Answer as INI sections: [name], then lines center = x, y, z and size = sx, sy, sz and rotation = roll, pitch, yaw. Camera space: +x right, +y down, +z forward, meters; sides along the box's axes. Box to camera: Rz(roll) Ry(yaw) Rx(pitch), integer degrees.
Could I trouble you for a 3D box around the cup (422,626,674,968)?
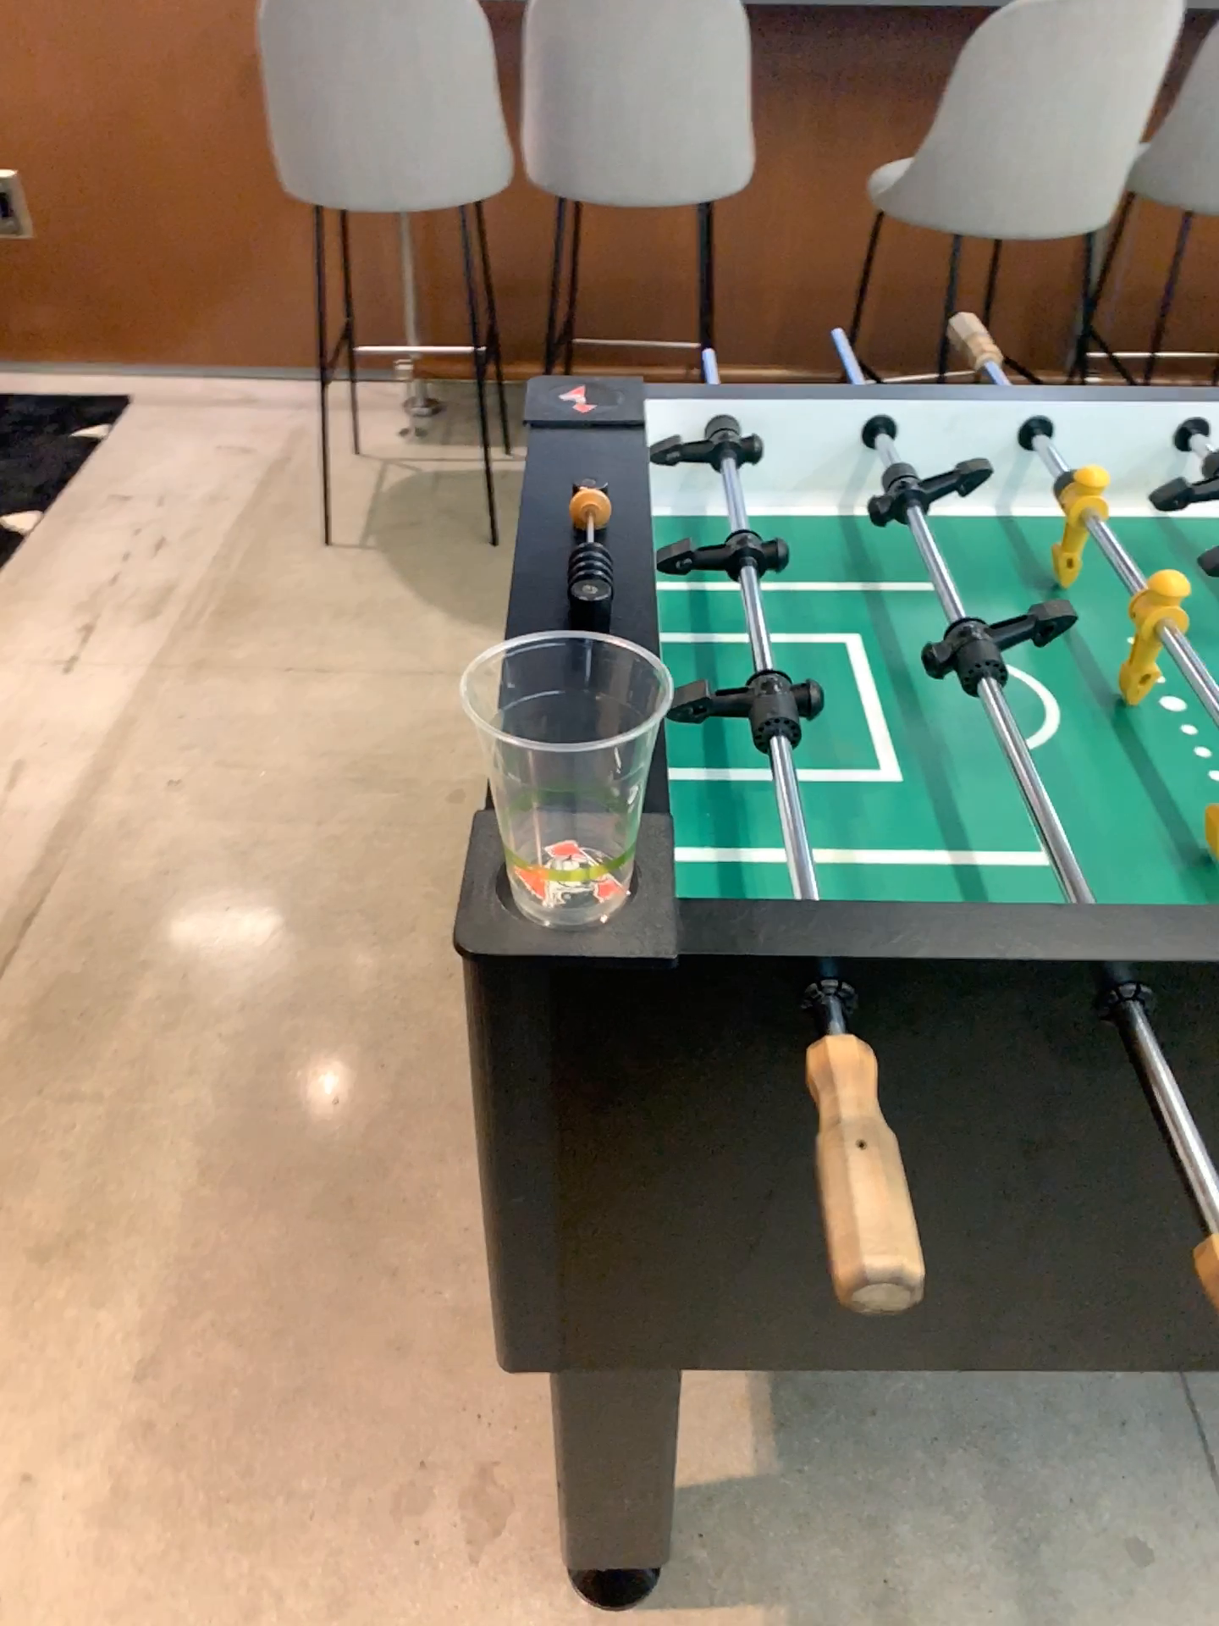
[cup]
center = -0.025, -0.009, 0.595
size = 0.100, 0.119, 0.101
rotation = 1, 38, 0
